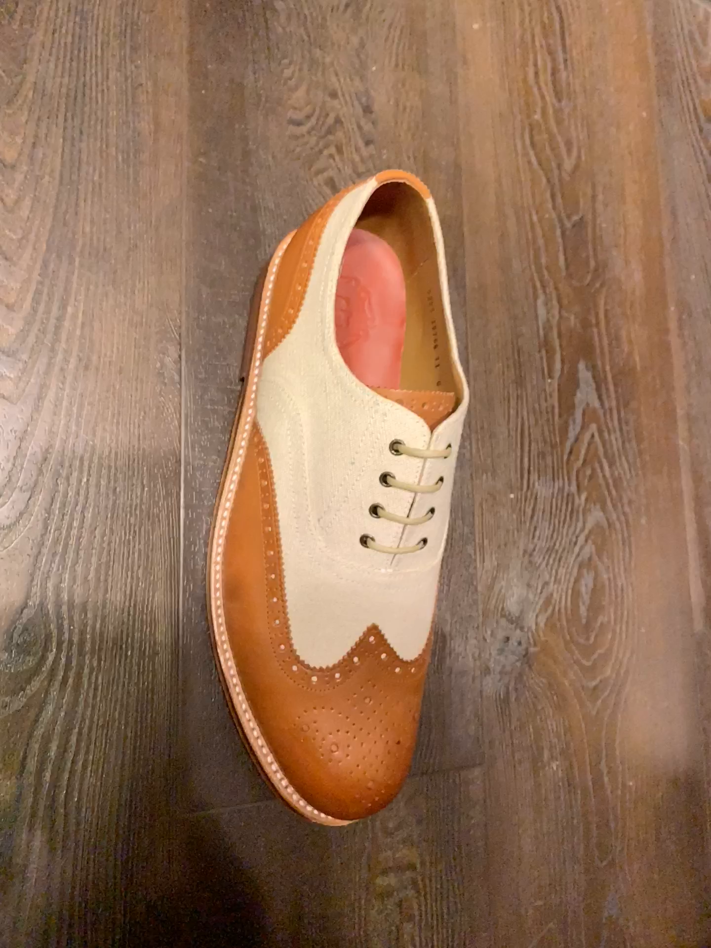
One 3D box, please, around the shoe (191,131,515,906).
[{"bbox_3d":[-0.006,0.017,0.361,0.110,0.120,0.300,4,81,-25],"label":"shoe"}]
